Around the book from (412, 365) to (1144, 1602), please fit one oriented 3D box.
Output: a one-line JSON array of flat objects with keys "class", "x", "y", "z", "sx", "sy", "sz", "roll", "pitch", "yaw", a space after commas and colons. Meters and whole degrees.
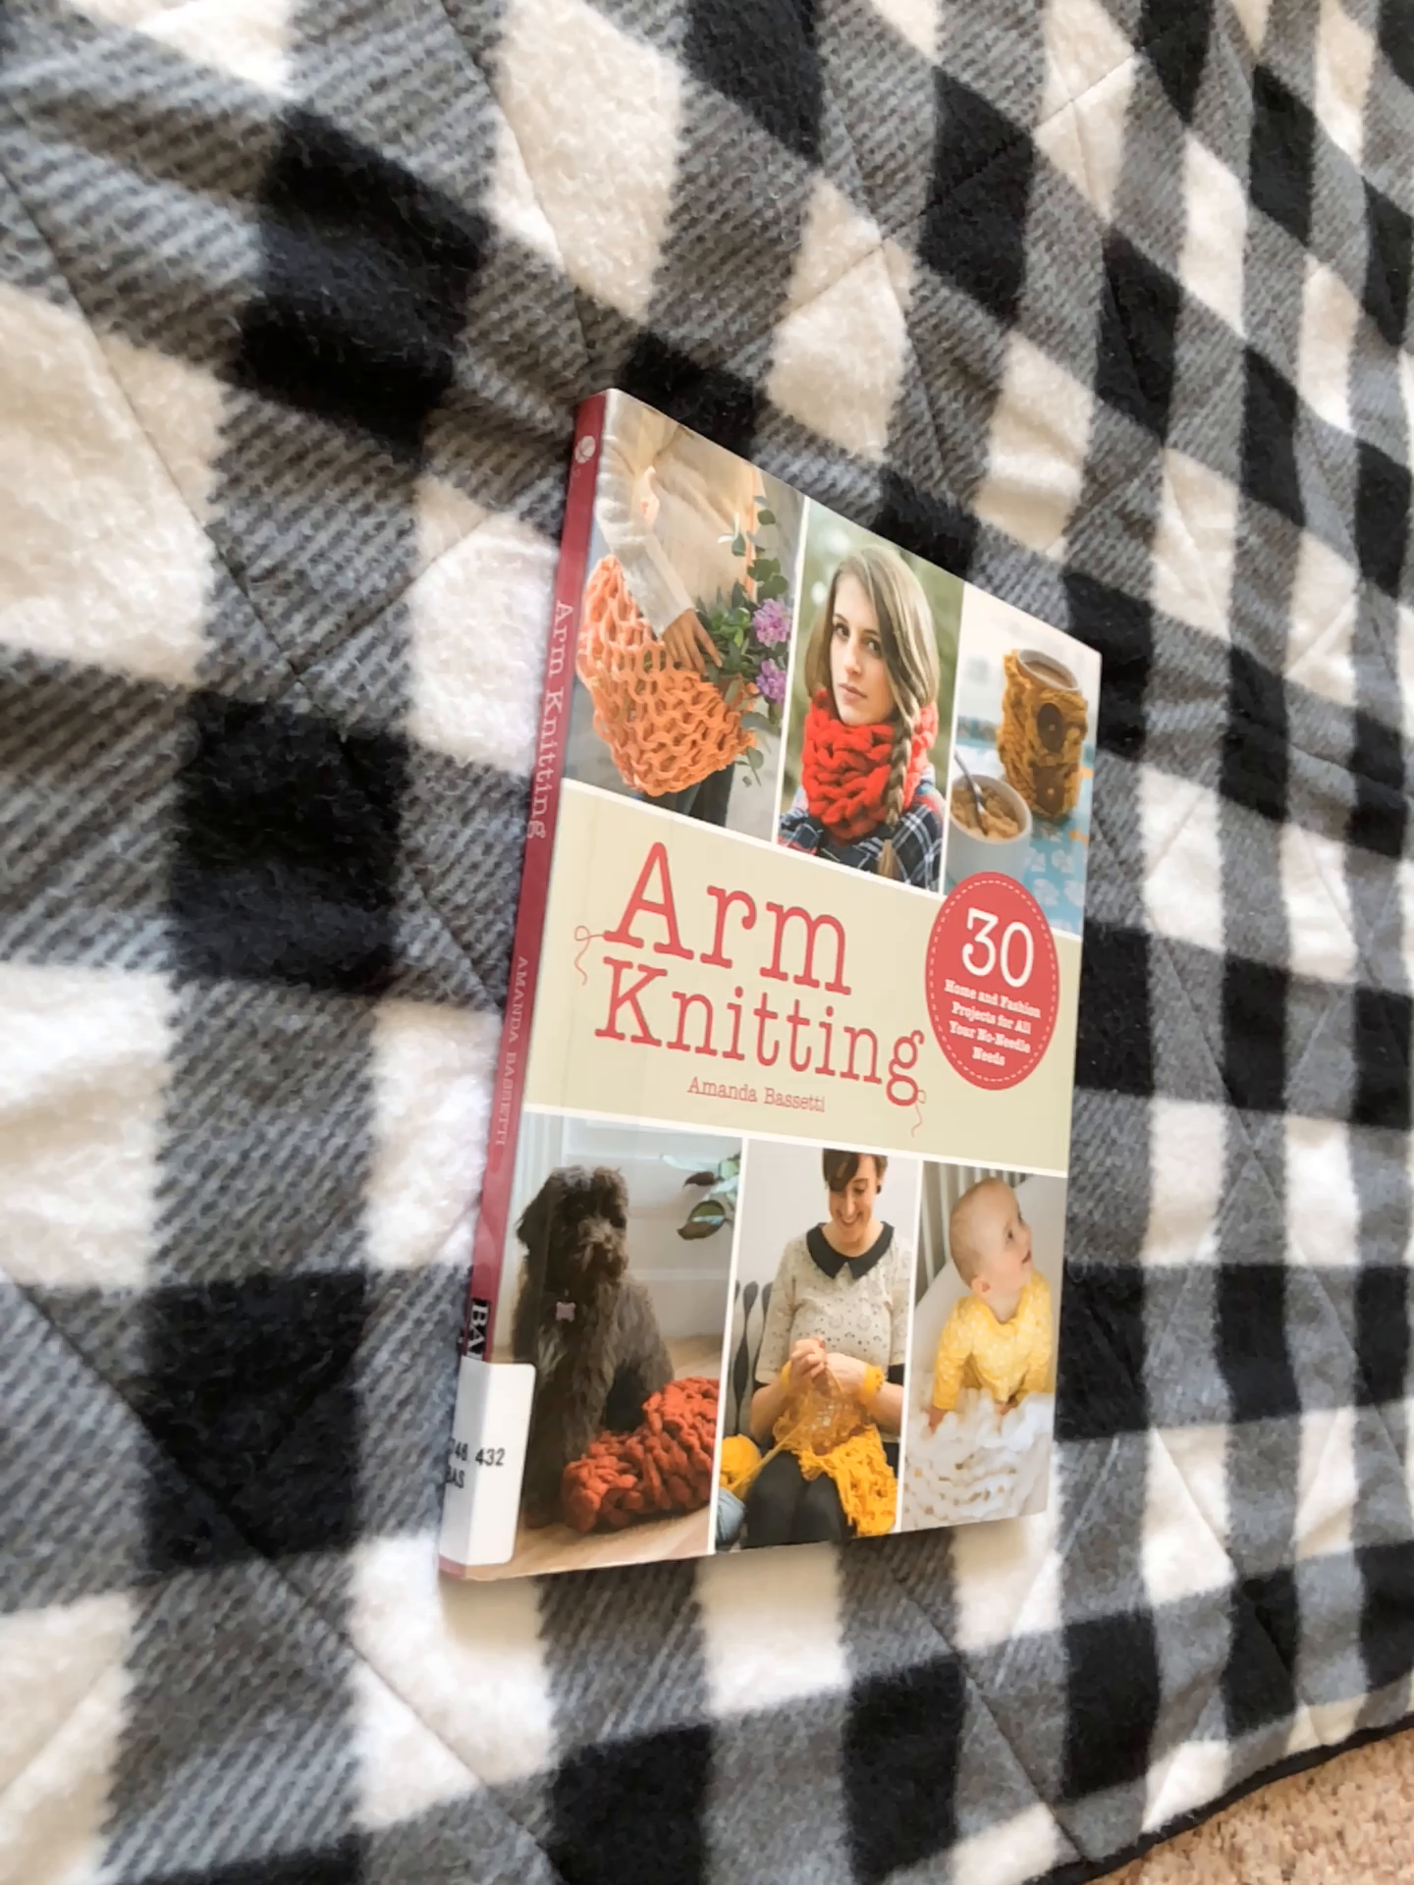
[{"class": "book", "x": 0.035, "y": 0.019, "z": 0.371, "sx": 0.197, "sy": 0.020, "sz": 0.238, "roll": 14, "pitch": 78, "yaw": -42}]
